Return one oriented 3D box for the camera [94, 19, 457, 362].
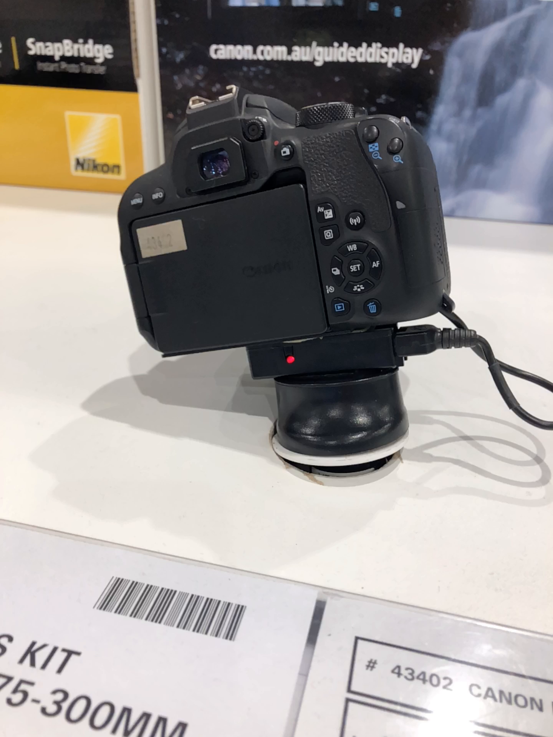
[{"bbox_3d":[0.004,-0.069,0.275,0.130,0.105,0.070,-8,7,20],"label":"camera"}]
